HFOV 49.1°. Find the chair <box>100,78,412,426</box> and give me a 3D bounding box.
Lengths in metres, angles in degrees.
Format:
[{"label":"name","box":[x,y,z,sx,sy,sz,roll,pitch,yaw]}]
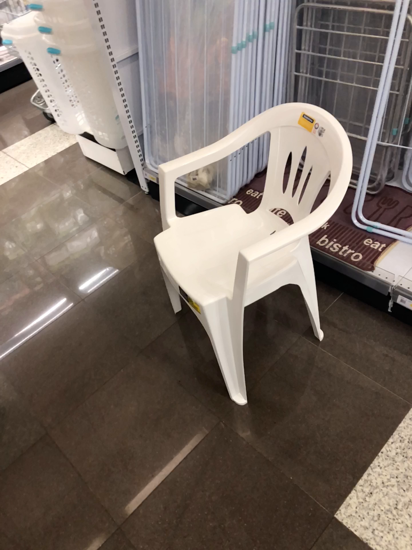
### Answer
[{"label":"chair","box":[0.160,-0.091,1.422,0.601,0.705,0.604,-29,45,-16]}]
